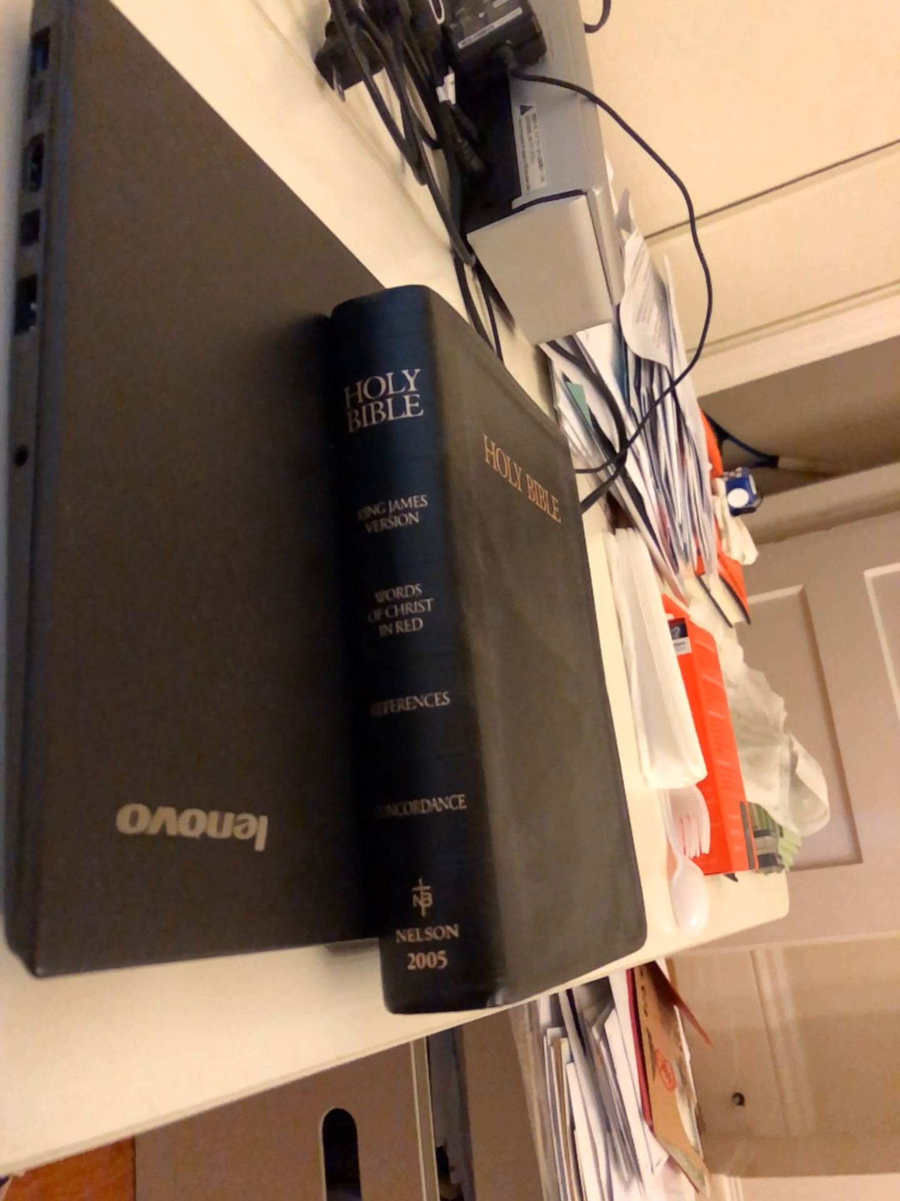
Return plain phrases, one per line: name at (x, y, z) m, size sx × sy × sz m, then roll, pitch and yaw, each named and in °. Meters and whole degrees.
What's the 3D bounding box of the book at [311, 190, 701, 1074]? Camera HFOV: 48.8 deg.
book at (0.026, 0.014, 0.344) m, size 0.171 × 0.040 × 0.240 m, roll 25°, pitch 54°, yaw -62°
